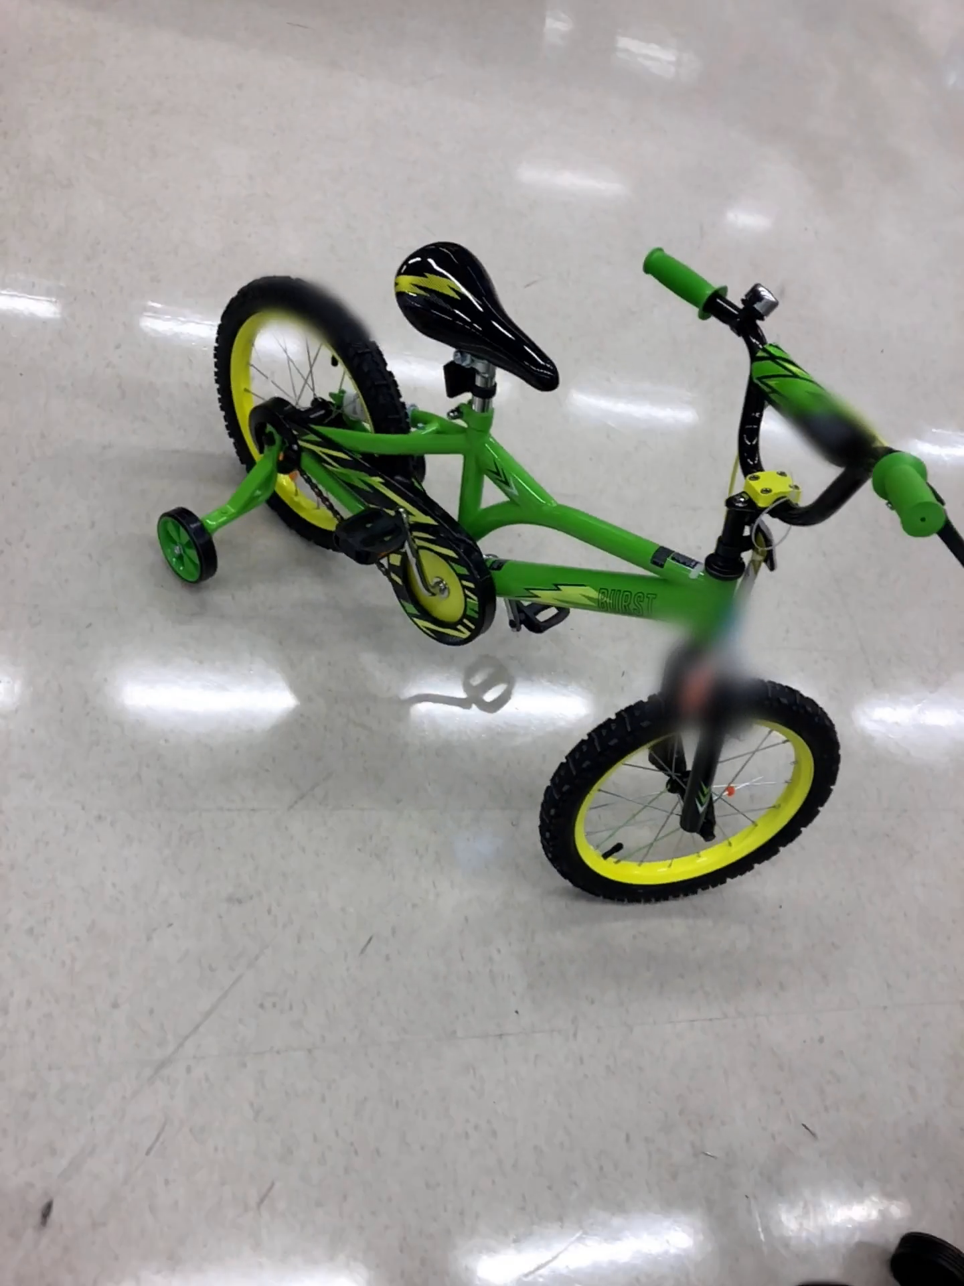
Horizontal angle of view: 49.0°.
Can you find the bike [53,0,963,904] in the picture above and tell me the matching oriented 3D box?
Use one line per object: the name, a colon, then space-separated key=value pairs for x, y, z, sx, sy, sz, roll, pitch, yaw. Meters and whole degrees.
bike: x=0.122 y=-0.305 z=1.257 sx=1.044 sy=0.807 sz=0.554 roll=36 pitch=52 yaw=12
